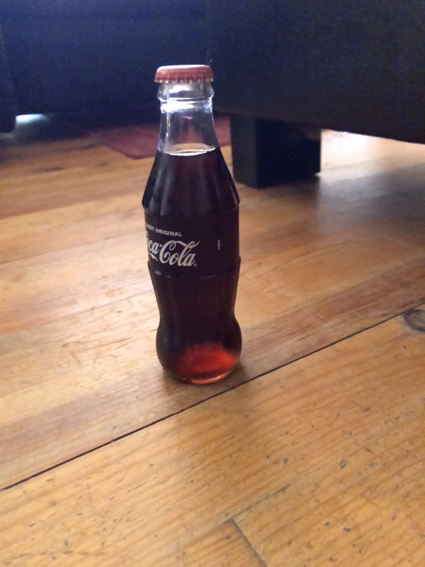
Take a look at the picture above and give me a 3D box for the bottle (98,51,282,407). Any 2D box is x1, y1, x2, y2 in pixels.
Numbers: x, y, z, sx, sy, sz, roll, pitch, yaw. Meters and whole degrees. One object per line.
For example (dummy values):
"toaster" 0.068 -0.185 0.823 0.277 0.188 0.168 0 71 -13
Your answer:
"bottle" -0.007 -0.029 0.255 0.060 0.169 0.060 -2 26 1
